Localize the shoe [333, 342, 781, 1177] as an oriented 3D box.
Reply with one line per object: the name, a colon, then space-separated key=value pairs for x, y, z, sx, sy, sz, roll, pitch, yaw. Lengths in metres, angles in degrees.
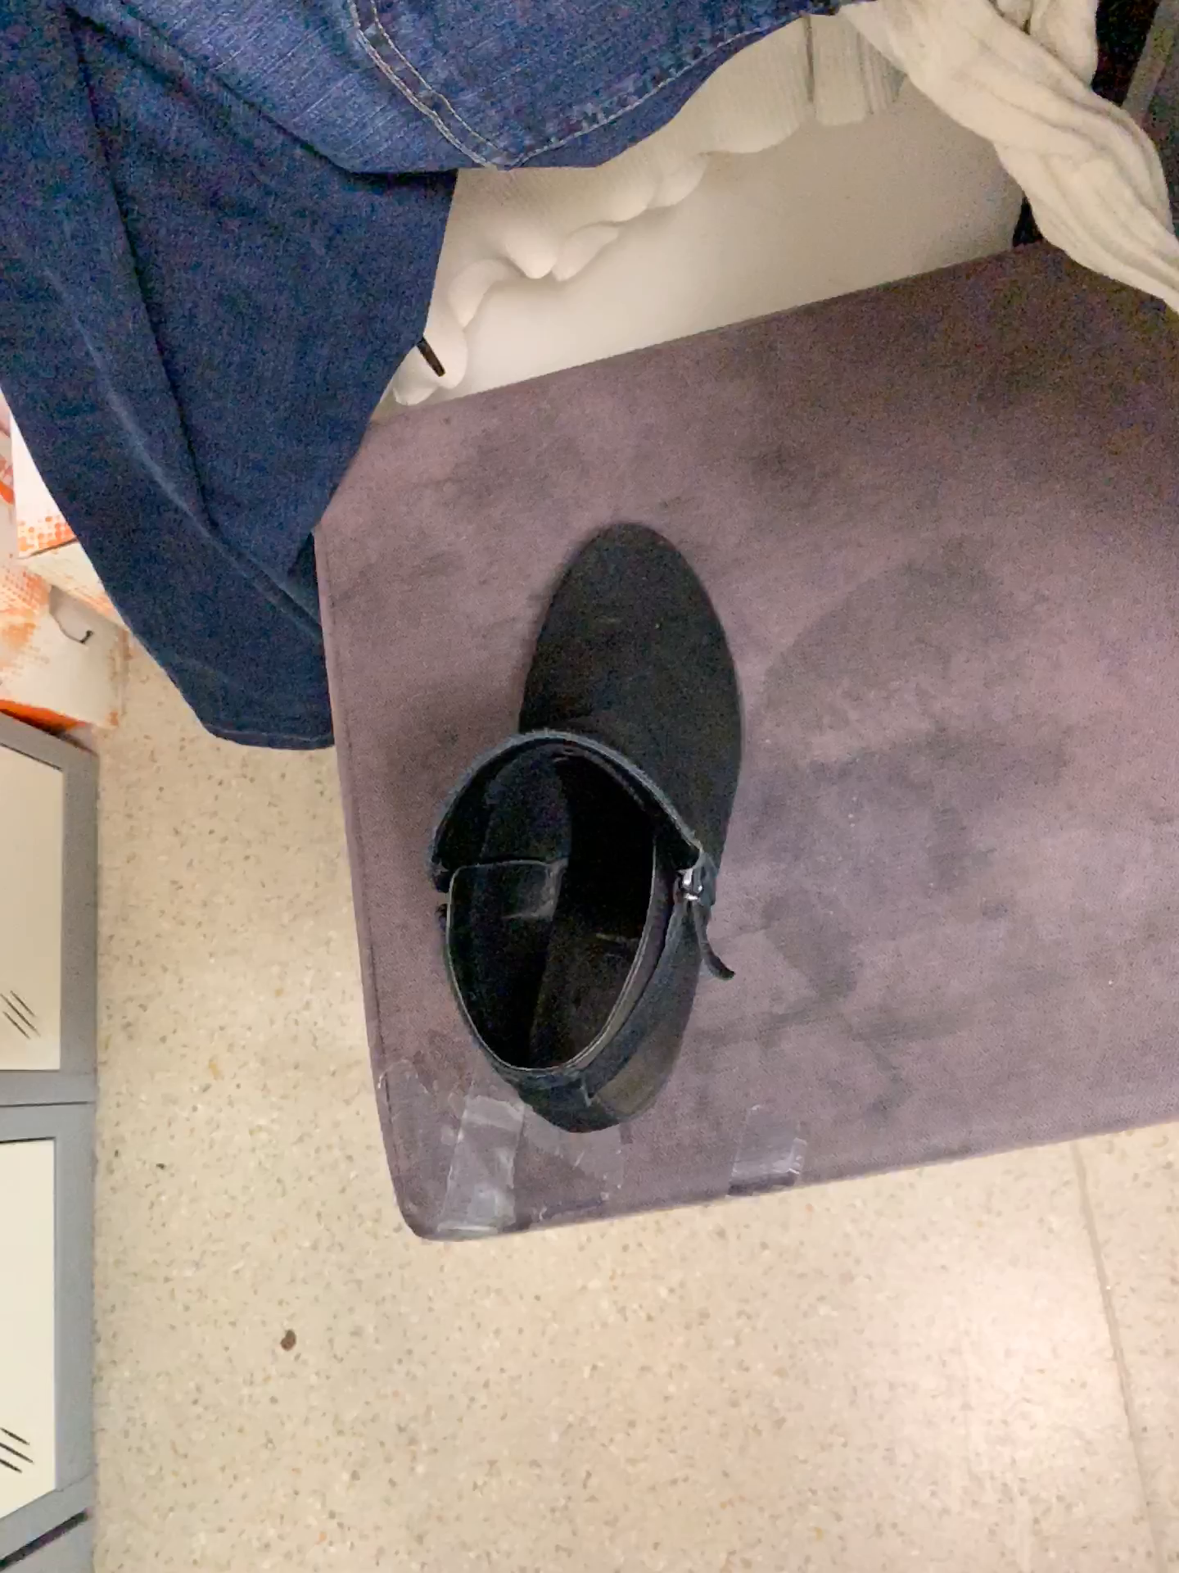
shoe: x=0.003 y=-0.006 z=0.449 sx=0.105 sy=0.135 sz=0.265 roll=6 pitch=77 yaw=11
